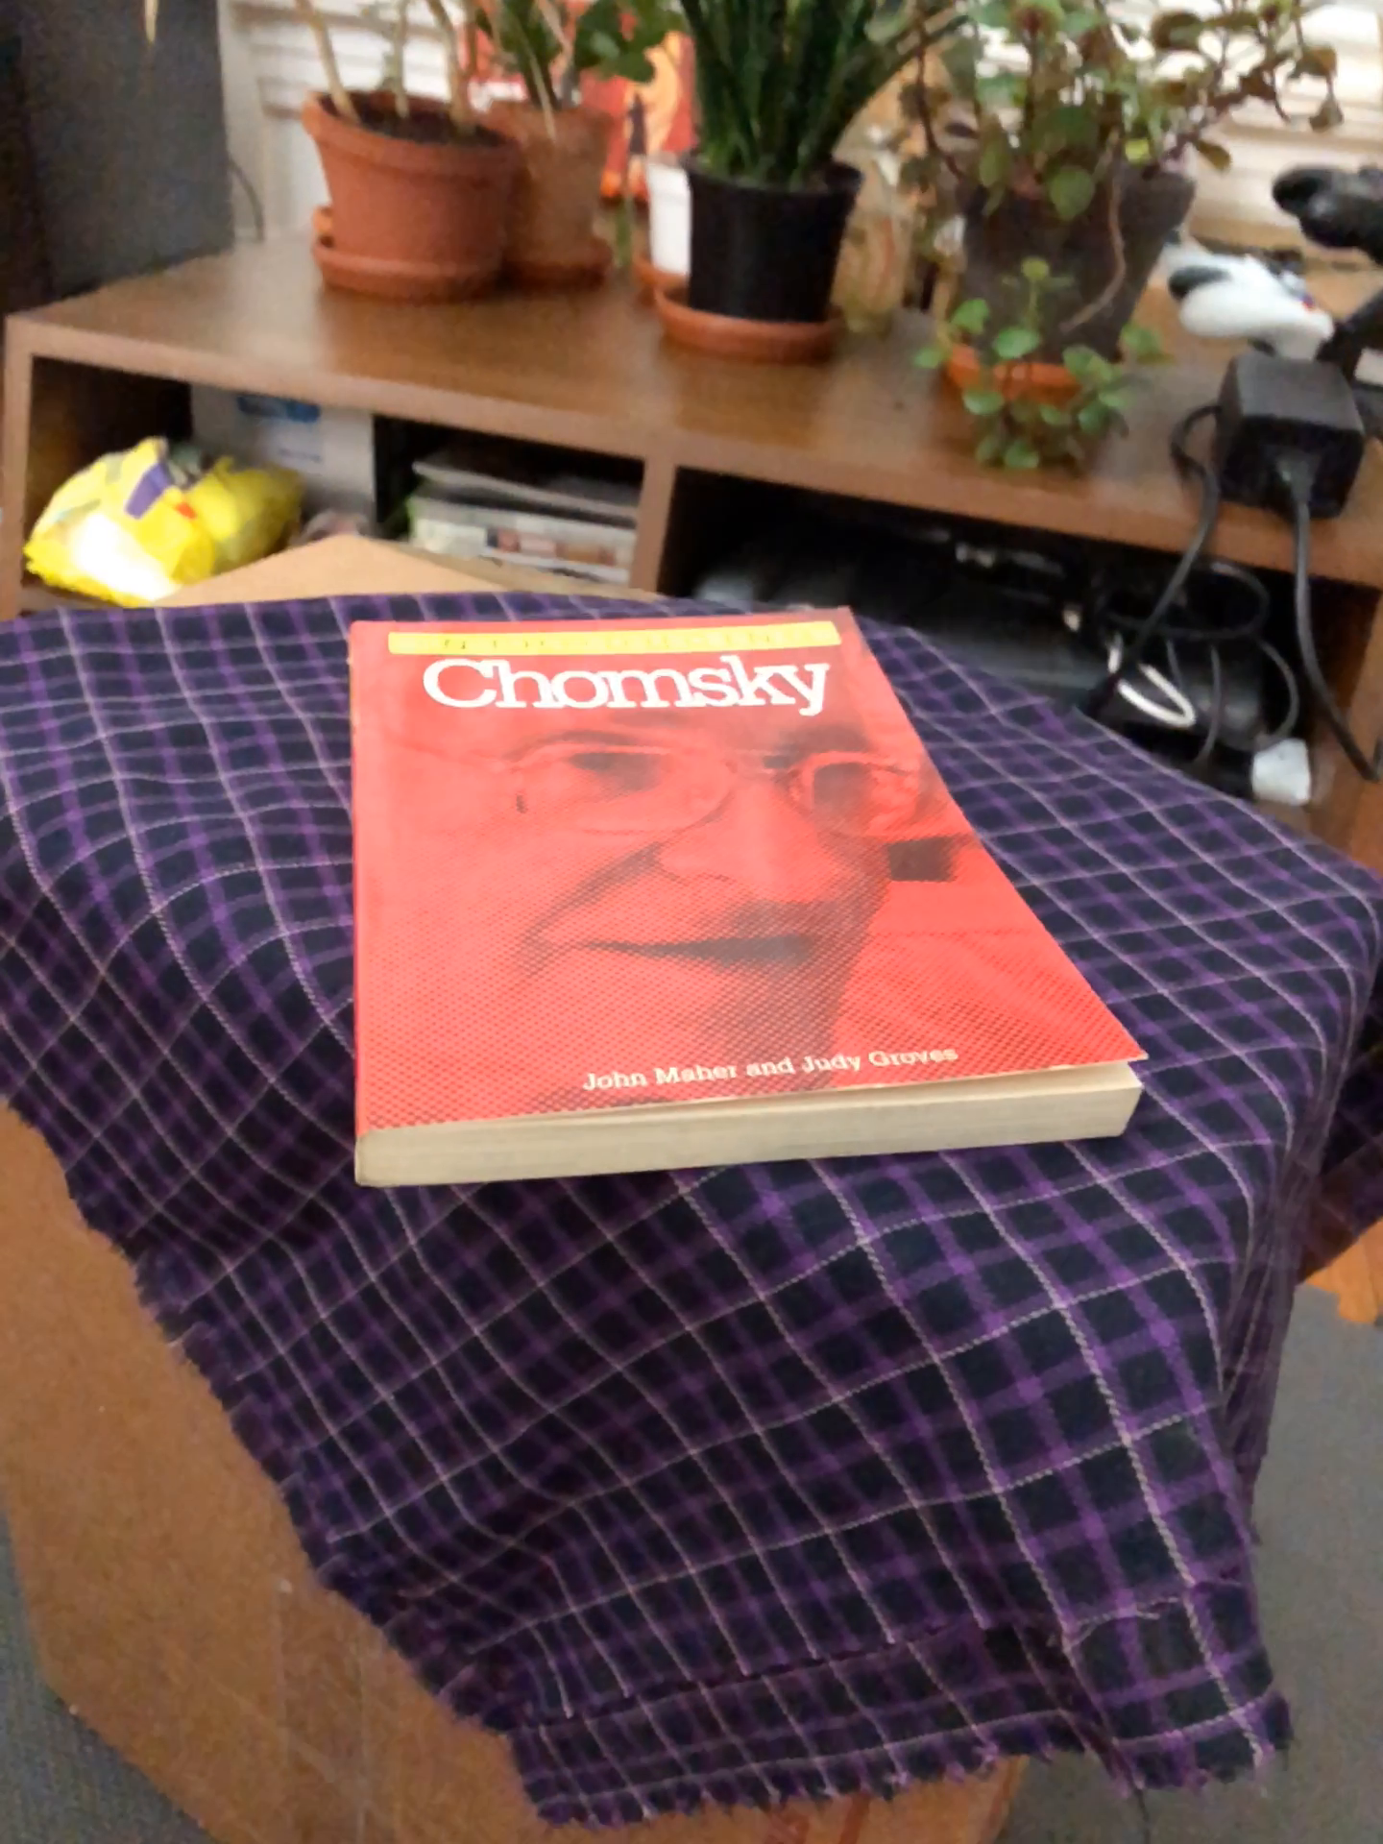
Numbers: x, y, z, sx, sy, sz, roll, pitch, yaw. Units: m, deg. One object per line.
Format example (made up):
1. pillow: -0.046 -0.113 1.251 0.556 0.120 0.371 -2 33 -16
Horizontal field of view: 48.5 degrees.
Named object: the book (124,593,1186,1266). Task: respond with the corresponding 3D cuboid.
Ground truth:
1. book: -0.024 -0.022 0.359 0.180 0.020 0.241 -2 33 -12
